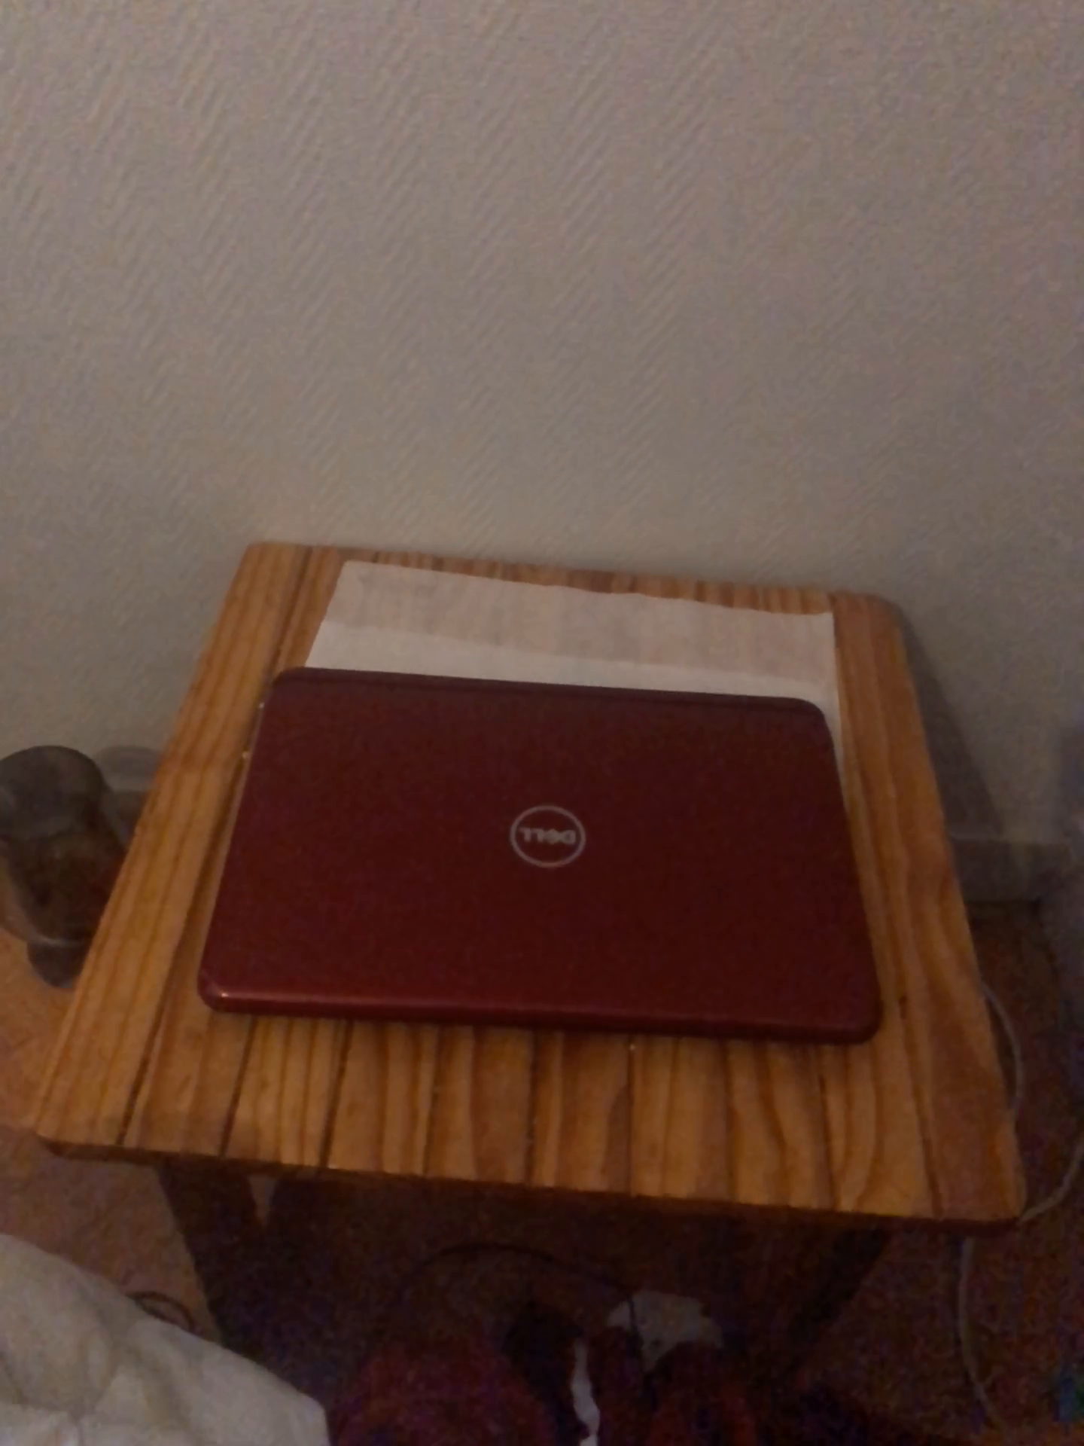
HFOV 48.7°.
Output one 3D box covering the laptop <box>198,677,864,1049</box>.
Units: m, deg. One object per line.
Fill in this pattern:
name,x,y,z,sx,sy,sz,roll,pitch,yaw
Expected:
laptop,-0.001,0.075,0.743,0.365,0.011,0.247,4,47,-1
